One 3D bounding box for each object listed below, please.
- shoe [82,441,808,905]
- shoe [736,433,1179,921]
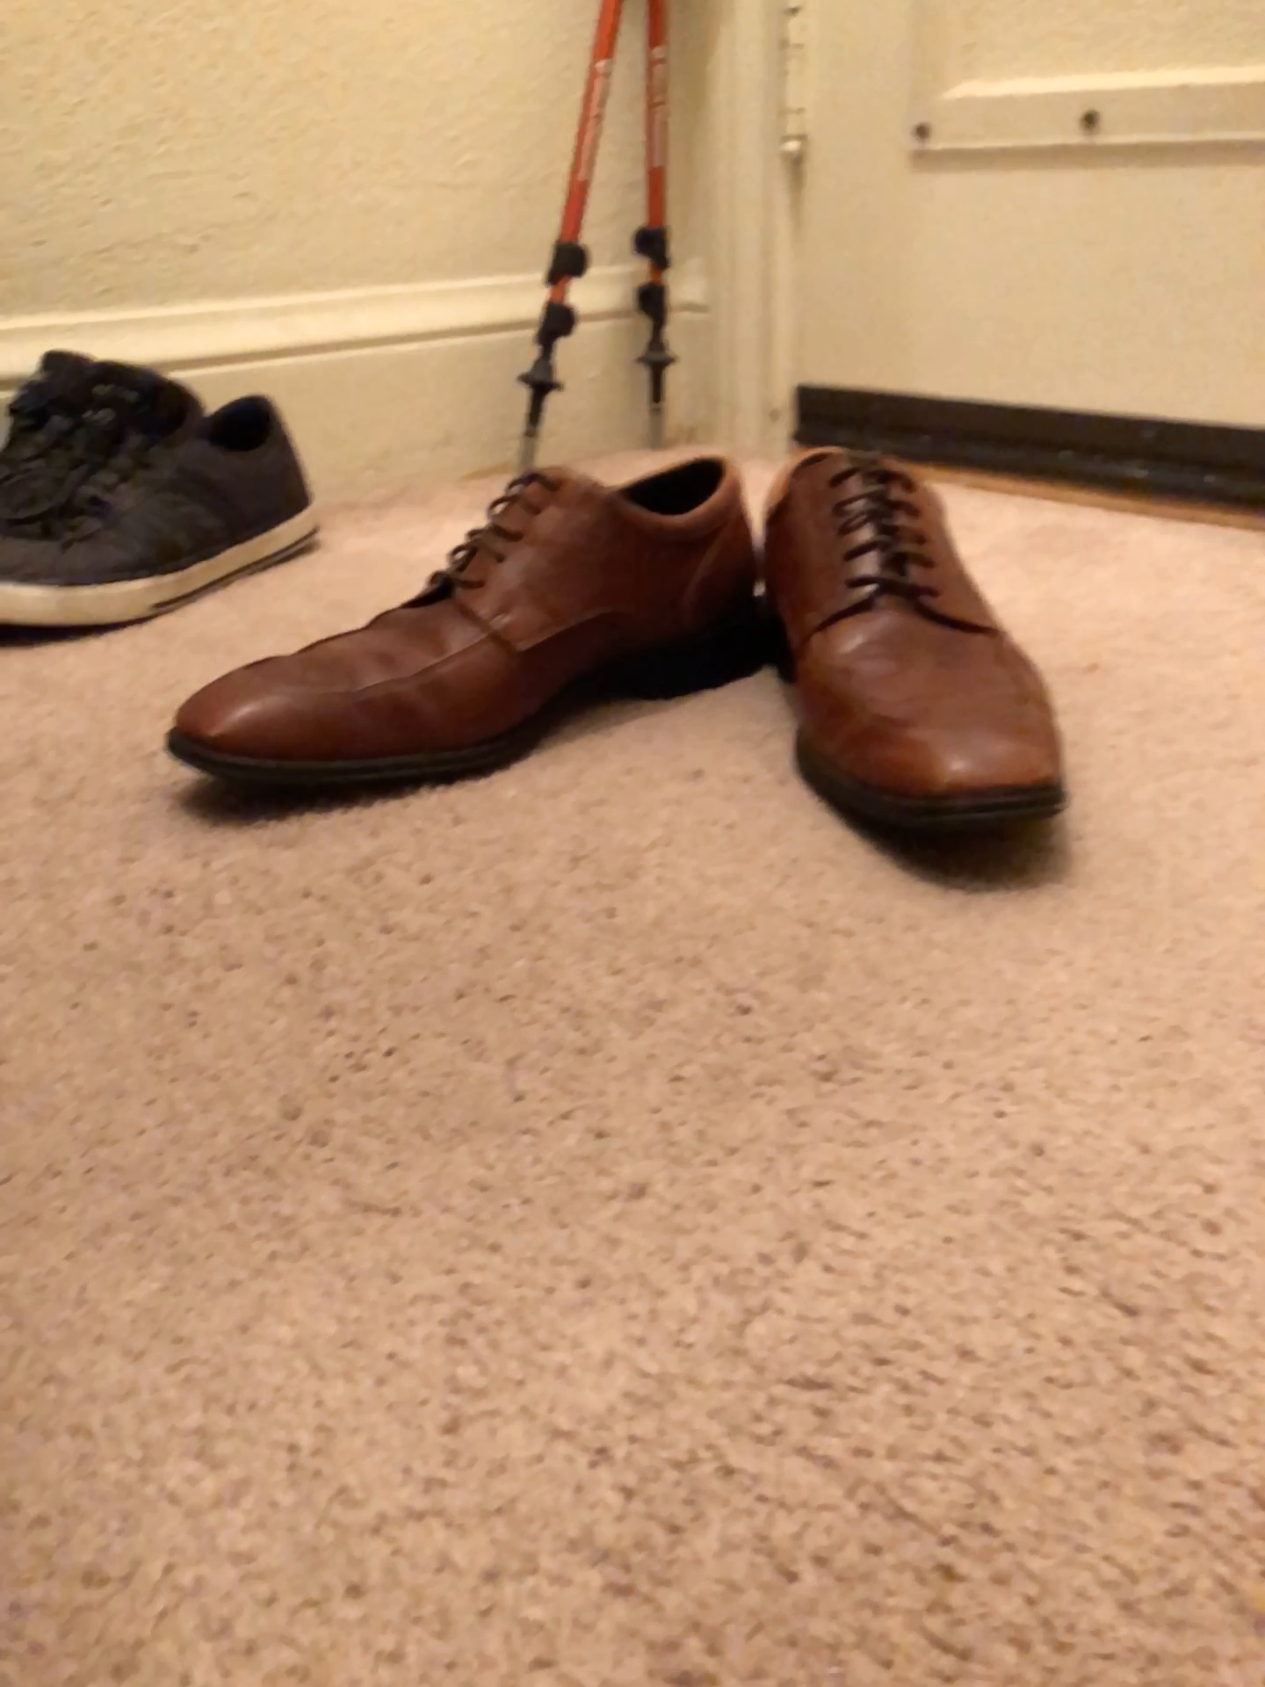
[{"bbox_3d":[-0.069,-0.095,0.640,0.301,0.119,0.120,-22,32,-35],"label":"shoe"},{"bbox_3d":[0.114,-0.091,0.596,0.100,0.109,0.302,-3,26,-3],"label":"shoe"}]
